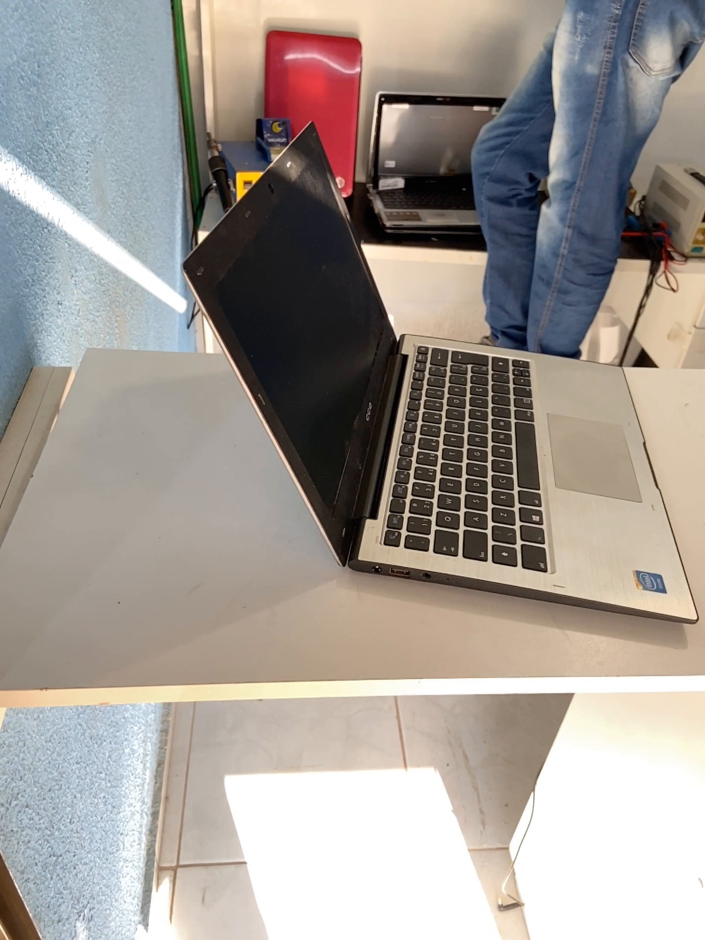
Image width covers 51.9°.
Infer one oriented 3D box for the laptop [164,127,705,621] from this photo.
[{"bbox_3d":[0.077,-0.096,0.514,0.303,0.181,0.315,9,37,4],"label":"laptop"}]
